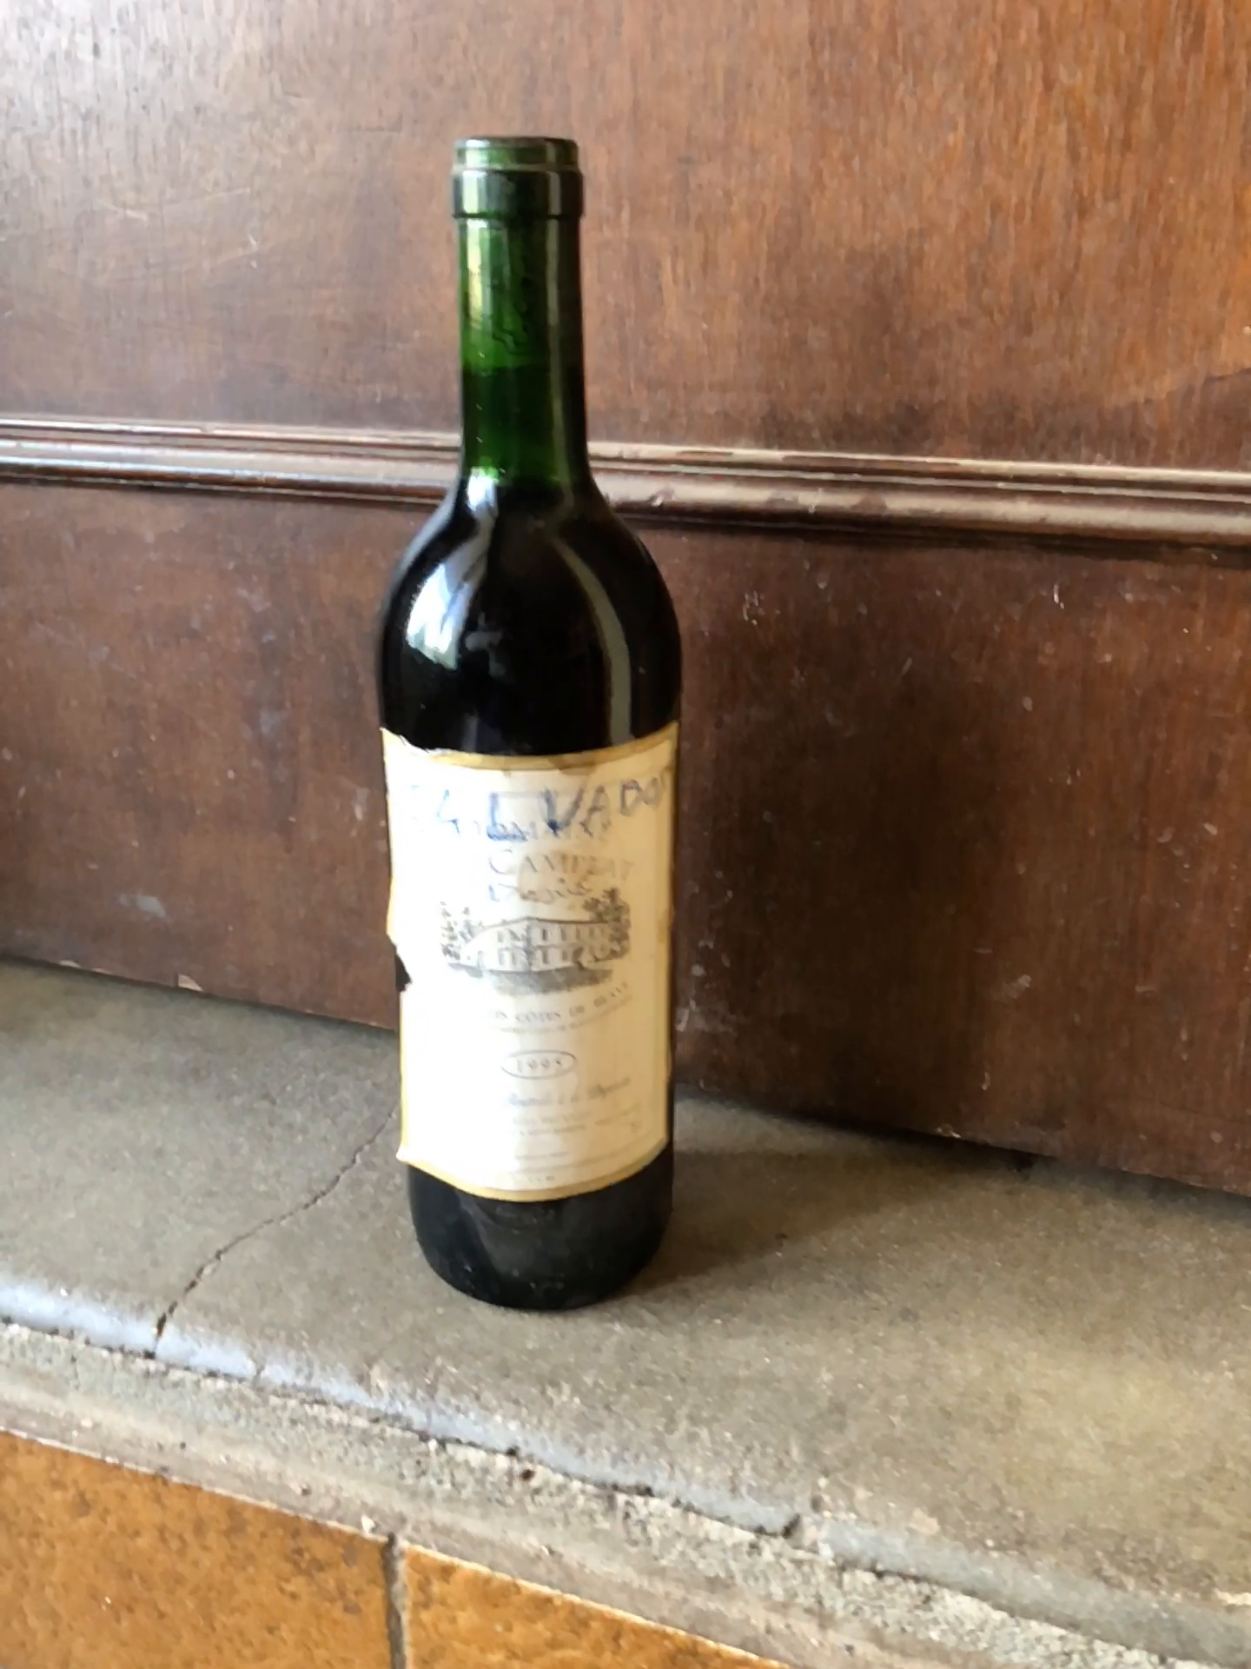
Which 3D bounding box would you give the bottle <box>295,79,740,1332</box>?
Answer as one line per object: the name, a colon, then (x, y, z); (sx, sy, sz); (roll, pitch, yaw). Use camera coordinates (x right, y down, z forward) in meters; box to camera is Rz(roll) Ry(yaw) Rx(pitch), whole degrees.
bottle: (-0.025, -0.021, 0.338); (0.080, 0.279, 0.080); (0, 22, 0)
